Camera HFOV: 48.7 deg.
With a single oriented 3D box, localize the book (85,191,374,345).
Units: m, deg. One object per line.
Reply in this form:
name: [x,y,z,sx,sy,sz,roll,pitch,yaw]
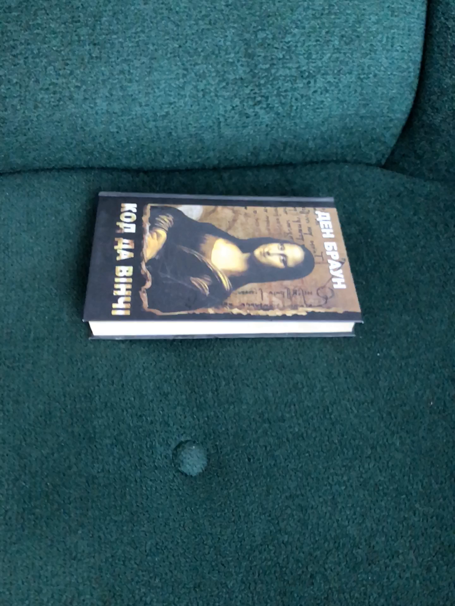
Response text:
book: [-0.001,-0.033,0.413,0.209,0.030,0.136,0,55,-5]
